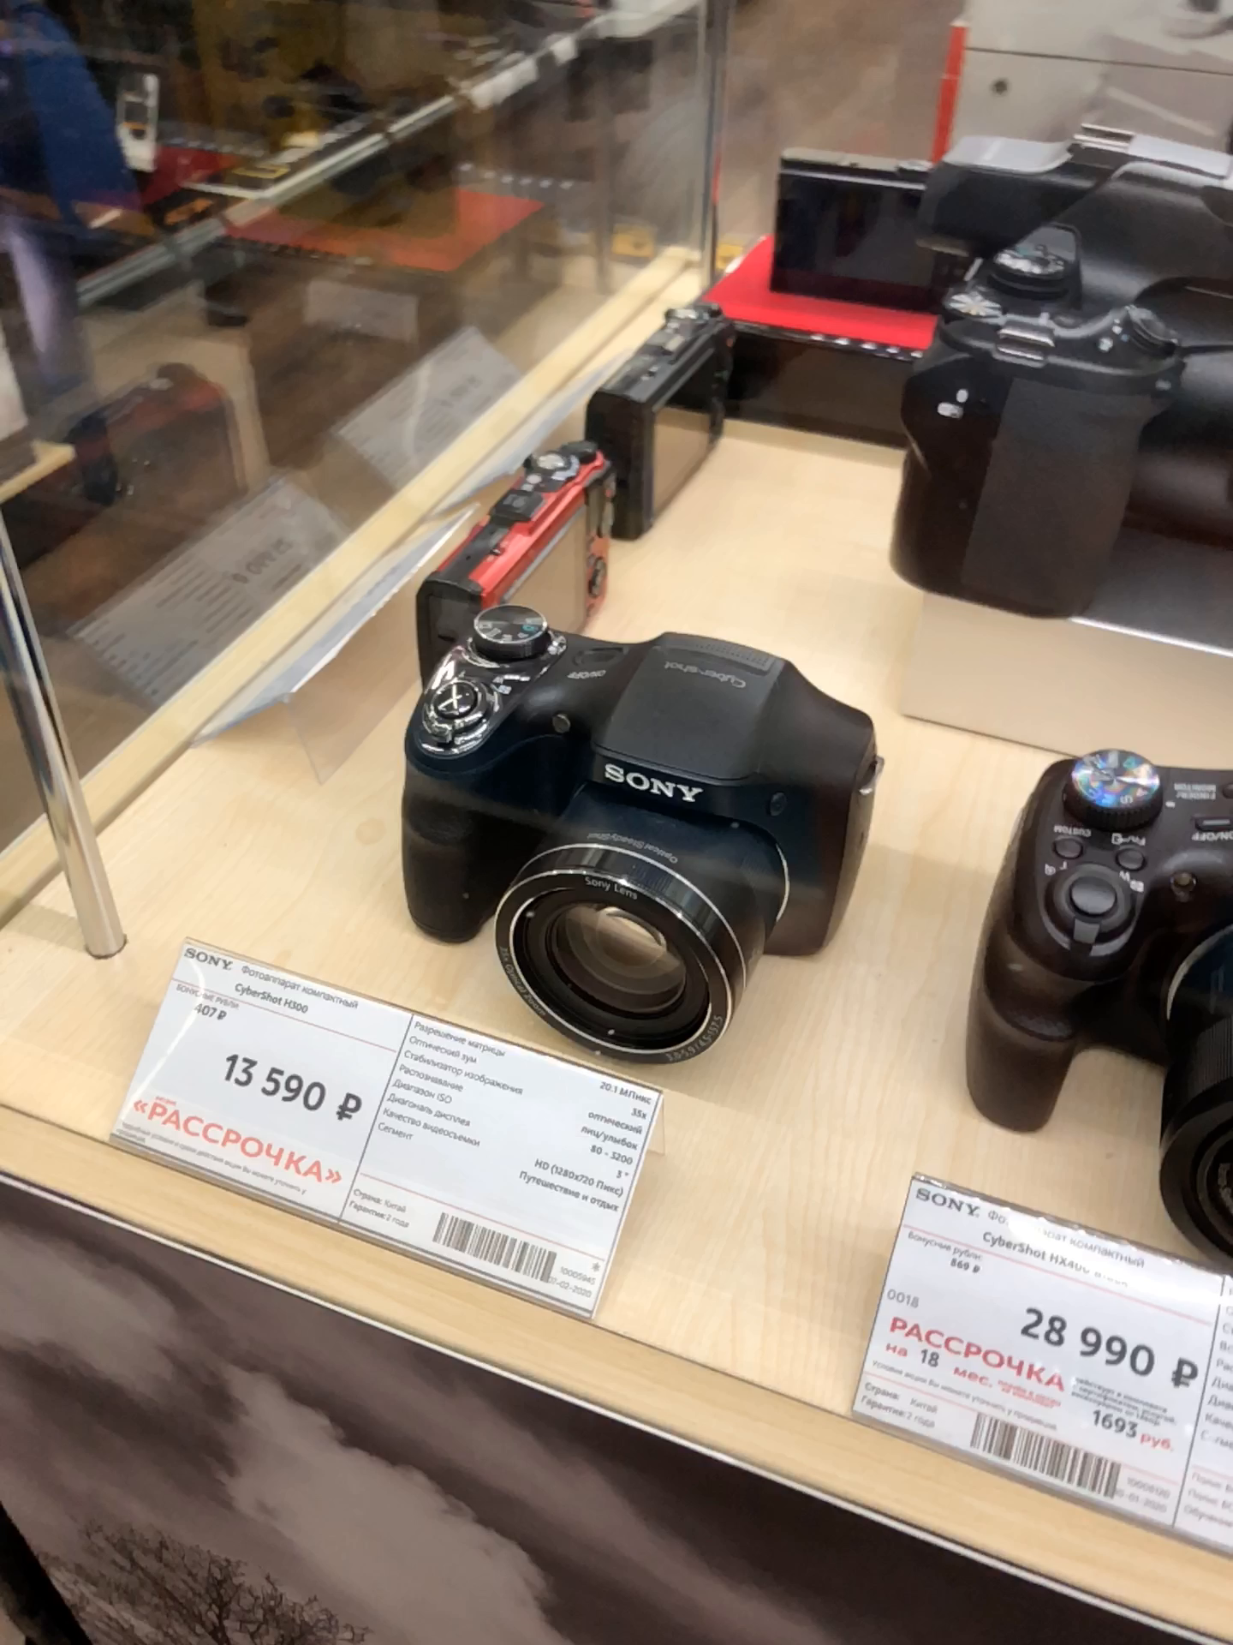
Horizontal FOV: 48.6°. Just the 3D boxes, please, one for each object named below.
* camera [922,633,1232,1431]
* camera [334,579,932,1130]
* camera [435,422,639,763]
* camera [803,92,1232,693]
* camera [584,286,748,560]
[{"bbox_3d":[0.156,0.041,0.325,0.124,0.097,0.125,16,42,17],"label":"camera"},{"bbox_3d":[0.007,0.003,0.366,0.124,0.078,0.092,16,42,17],"label":"camera"},{"bbox_3d":[-0.024,-0.083,0.474,0.026,0.069,0.112,14,42,15],"label":"camera"},{"bbox_3d":[0.159,-0.135,0.404,0.168,0.106,0.132,14,42,15],"label":"camera"},{"bbox_3d":[0.021,-0.166,0.560,0.026,0.069,0.112,16,42,17],"label":"camera"}]
